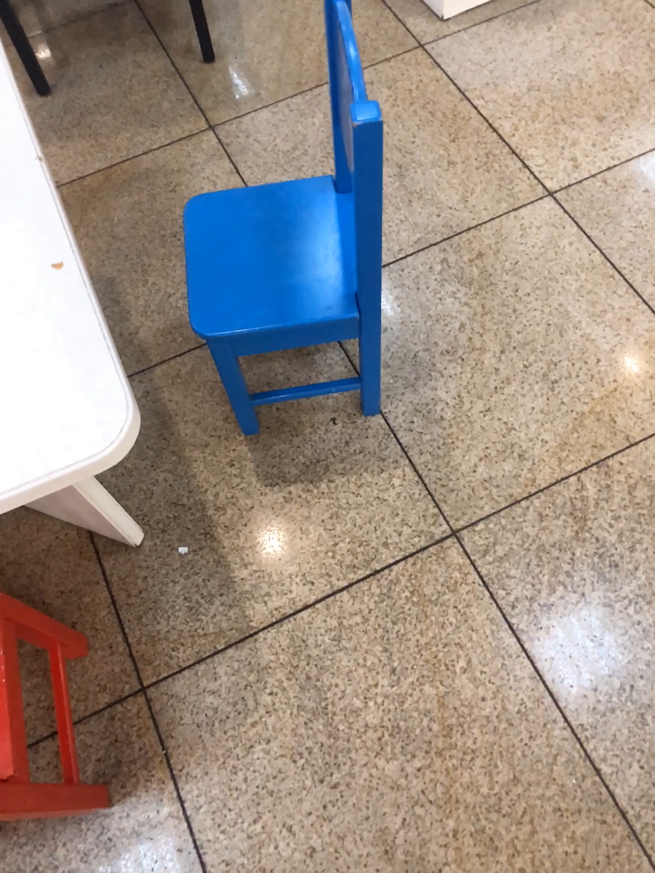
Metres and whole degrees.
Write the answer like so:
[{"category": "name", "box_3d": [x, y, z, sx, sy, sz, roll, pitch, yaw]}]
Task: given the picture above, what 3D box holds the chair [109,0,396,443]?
[{"category": "chair", "box_3d": [-0.079, -0.289, 1.104, 0.300, 0.639, 0.300, -9, 63, -1]}]
